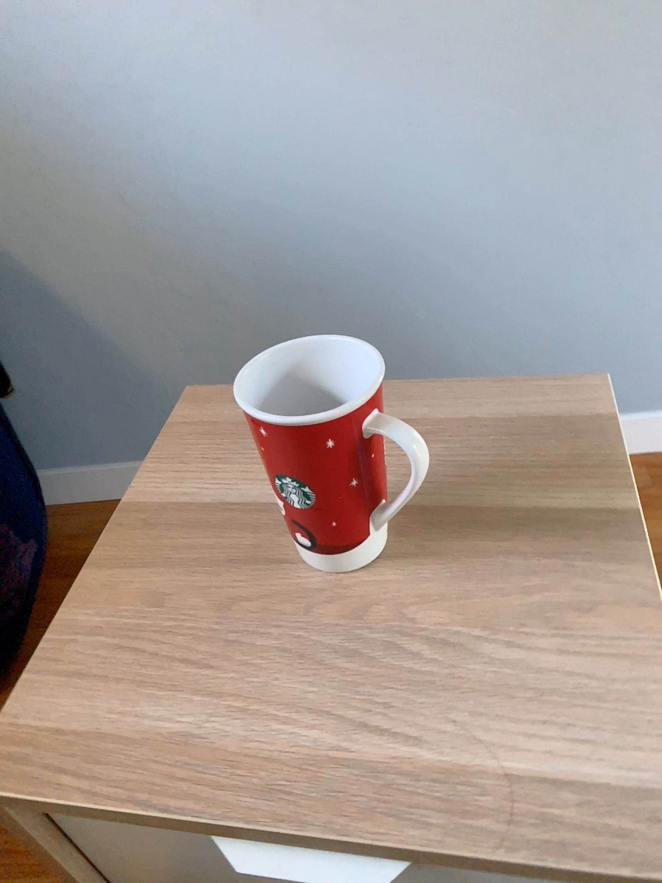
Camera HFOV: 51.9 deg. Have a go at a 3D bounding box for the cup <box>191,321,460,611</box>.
[{"bbox_3d":[0.005,0.014,0.441,0.130,0.149,0.080,12,44,26],"label":"cup"}]
